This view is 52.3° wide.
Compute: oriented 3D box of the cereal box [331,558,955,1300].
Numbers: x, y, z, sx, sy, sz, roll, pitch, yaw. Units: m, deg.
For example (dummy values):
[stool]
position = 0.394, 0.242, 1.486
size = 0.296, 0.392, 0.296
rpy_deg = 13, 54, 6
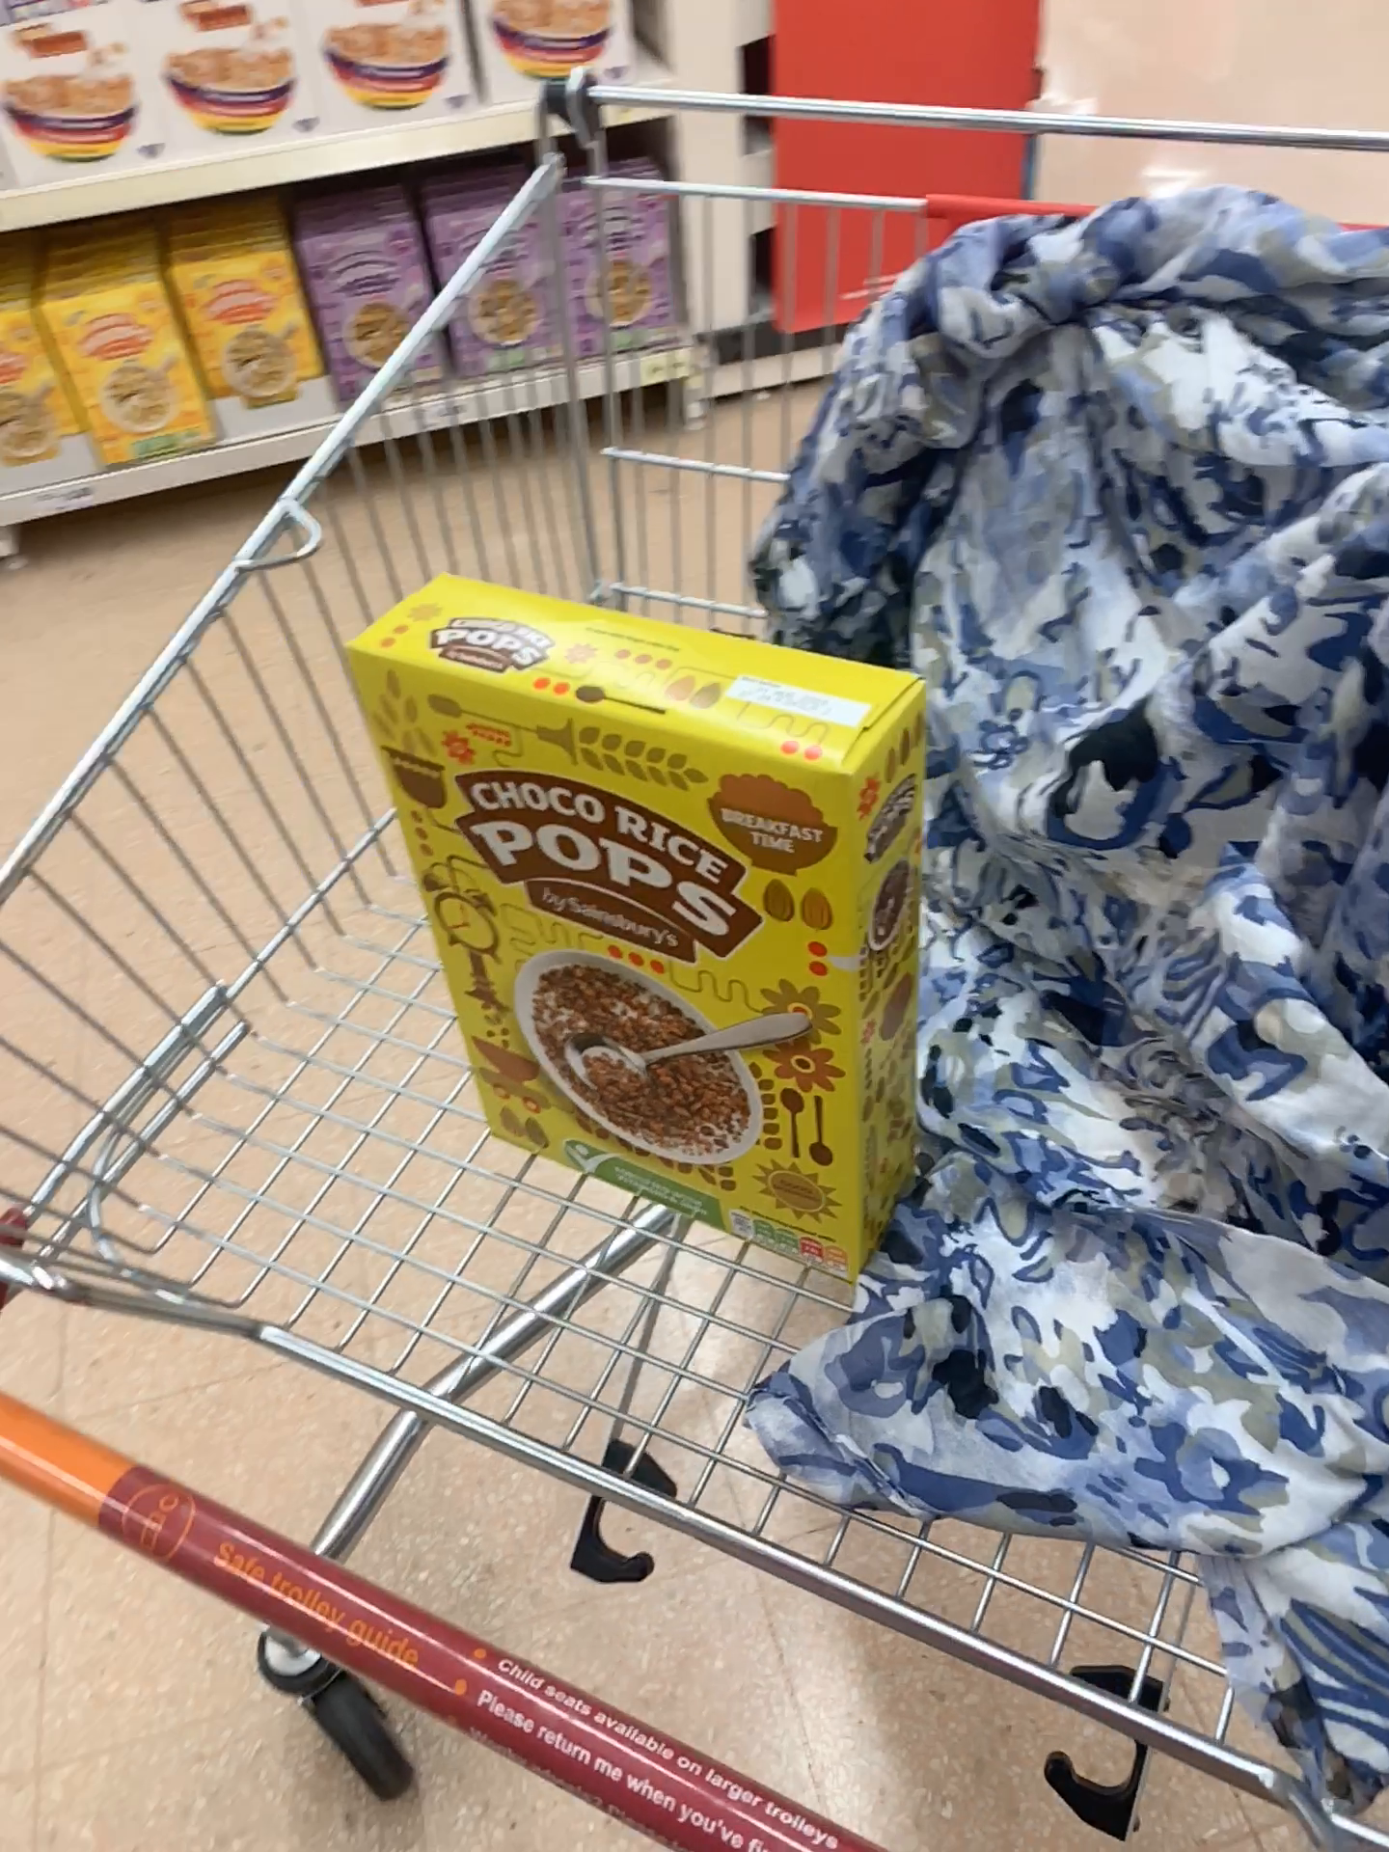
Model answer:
[cereal box]
position = -0.013, 0.010, 0.552
size = 0.200, 0.267, 0.060
rpy_deg = 17, 47, 22
